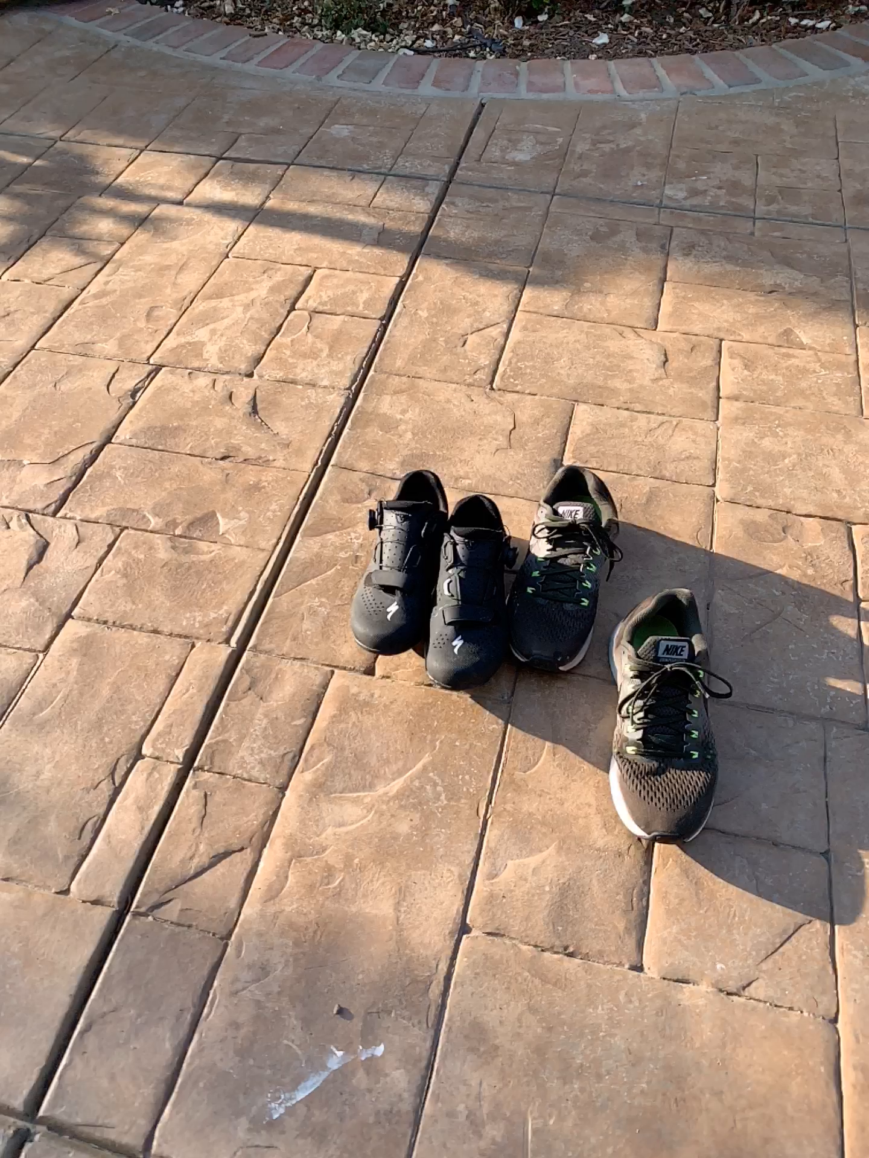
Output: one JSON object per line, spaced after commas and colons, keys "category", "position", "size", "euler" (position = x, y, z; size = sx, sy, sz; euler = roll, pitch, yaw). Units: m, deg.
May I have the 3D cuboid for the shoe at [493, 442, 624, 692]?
{"category": "shoe", "position": [0.143, -0.023, 0.998], "size": [0.100, 0.090, 0.281], "euler": [10, 50, 10]}

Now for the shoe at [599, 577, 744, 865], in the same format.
{"category": "shoe", "position": [0.243, 0.135, 0.925], "size": [0.120, 0.070, 0.291], "euler": [7, 49, 7]}

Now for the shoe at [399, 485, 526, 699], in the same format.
{"category": "shoe", "position": [0.034, 0.007, 0.953], "size": [0.100, 0.070, 0.231], "euler": [7, 49, 7]}

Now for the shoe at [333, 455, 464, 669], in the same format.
{"category": "shoe", "position": [-0.034, -0.028, 1.031], "size": [0.100, 0.070, 0.261], "euler": [7, 49, 7]}
